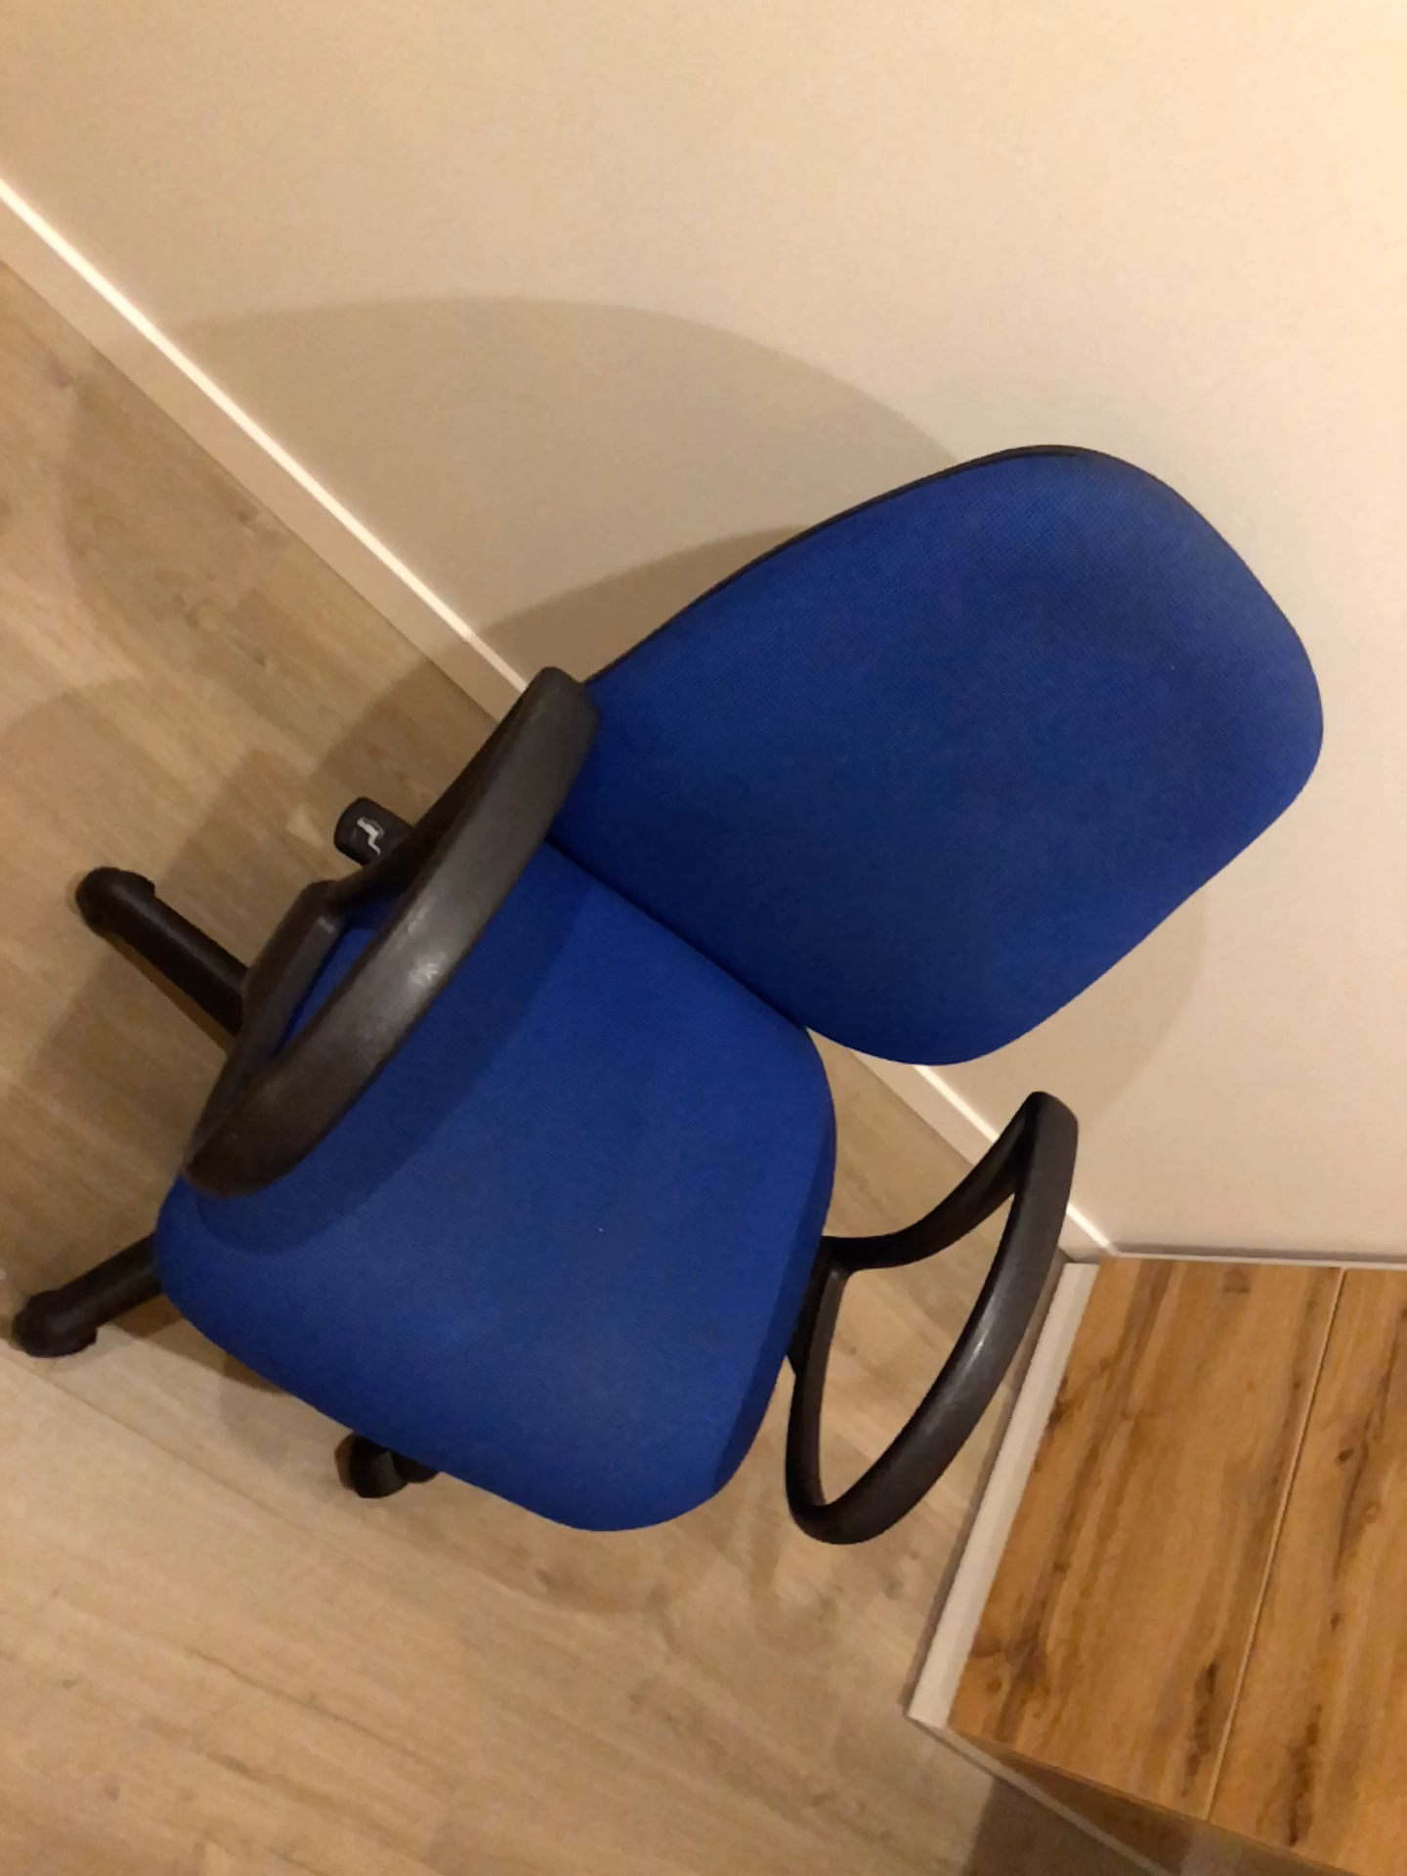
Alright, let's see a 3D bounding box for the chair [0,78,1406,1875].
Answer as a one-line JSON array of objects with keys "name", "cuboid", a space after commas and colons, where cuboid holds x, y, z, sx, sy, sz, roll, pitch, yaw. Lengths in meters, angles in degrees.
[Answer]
[{"name": "chair", "cuboid": [-0.046, 0.092, 1.163, 0.697, 0.905, 0.702, 36, 62, -29]}]
